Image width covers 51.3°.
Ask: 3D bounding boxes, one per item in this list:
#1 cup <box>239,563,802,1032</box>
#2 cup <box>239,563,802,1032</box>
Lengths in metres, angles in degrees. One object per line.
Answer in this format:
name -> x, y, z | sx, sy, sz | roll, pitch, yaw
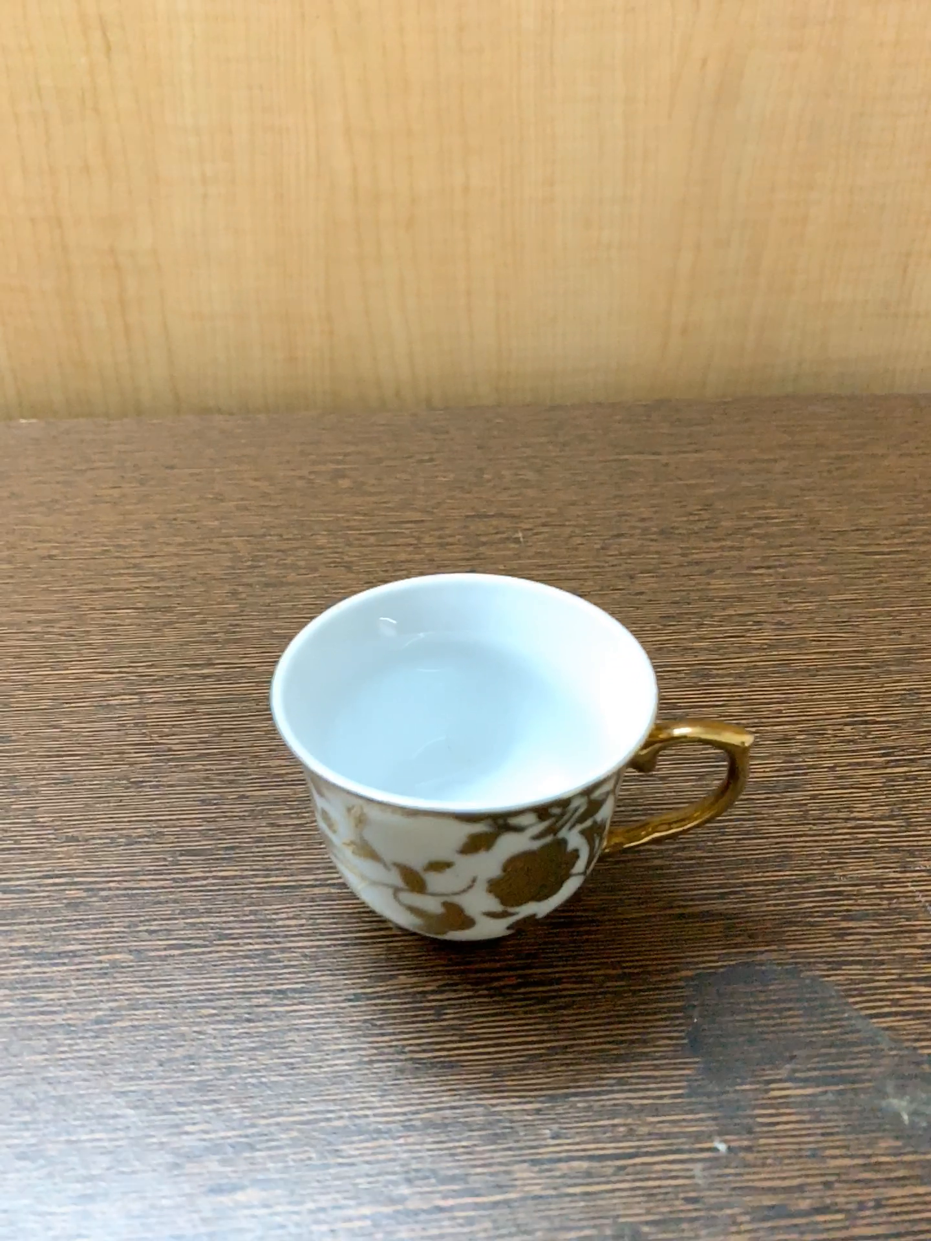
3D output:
cup -> 0.008, 0.029, 0.181 | 0.080, 0.050, 0.071 | 1, 34, 1
cup -> 0.008, 0.029, 0.181 | 0.080, 0.050, 0.071 | 1, 34, 1
